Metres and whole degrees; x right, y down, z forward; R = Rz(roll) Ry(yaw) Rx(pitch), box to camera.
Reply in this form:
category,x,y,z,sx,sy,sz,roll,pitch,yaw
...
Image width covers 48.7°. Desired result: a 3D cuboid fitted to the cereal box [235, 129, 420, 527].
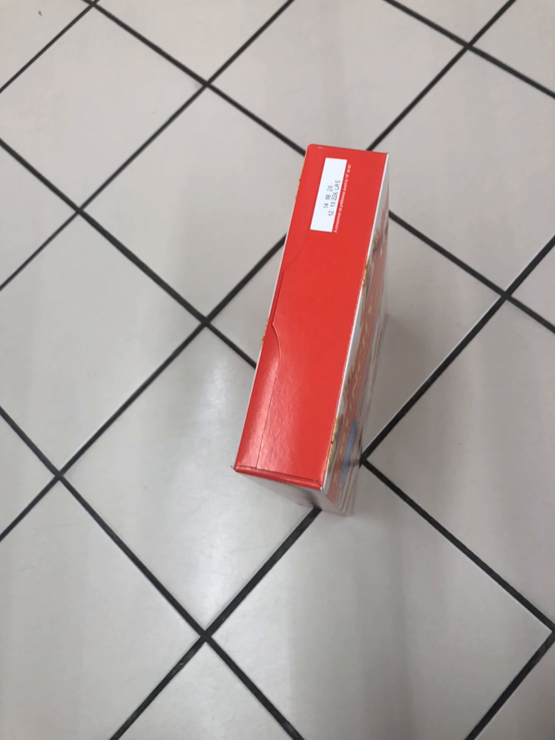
category,x,y,z,sx,sy,sz,roll,pitch,yaw
cereal box,0.048,-0.002,0.433,0.060,0.250,0.200,9,75,12
